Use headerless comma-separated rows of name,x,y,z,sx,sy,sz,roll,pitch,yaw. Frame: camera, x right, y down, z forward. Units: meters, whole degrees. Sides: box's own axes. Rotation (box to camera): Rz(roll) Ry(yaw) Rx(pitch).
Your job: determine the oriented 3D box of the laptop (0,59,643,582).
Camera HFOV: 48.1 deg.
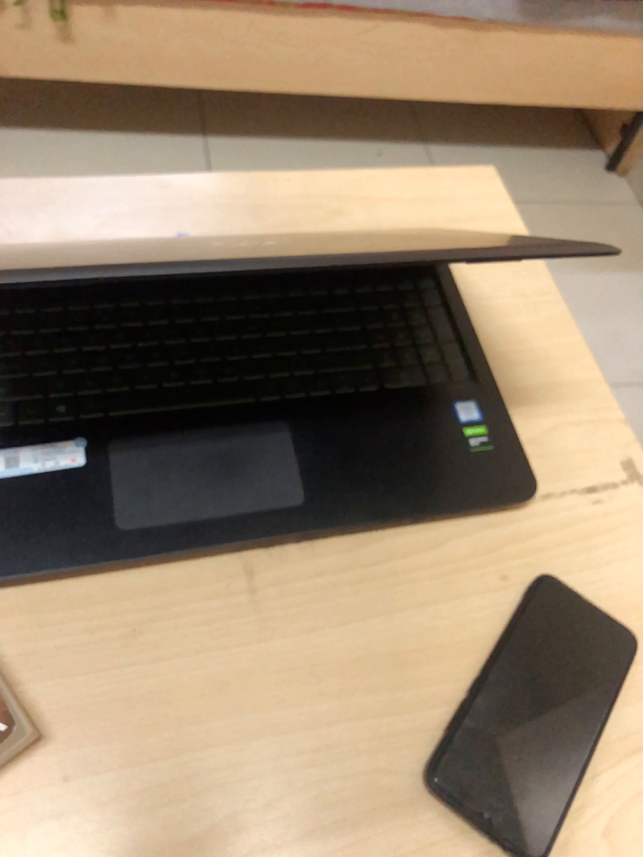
laptop,-0.041,-0.076,0.439,0.360,0.167,0.231,-7,60,-14
